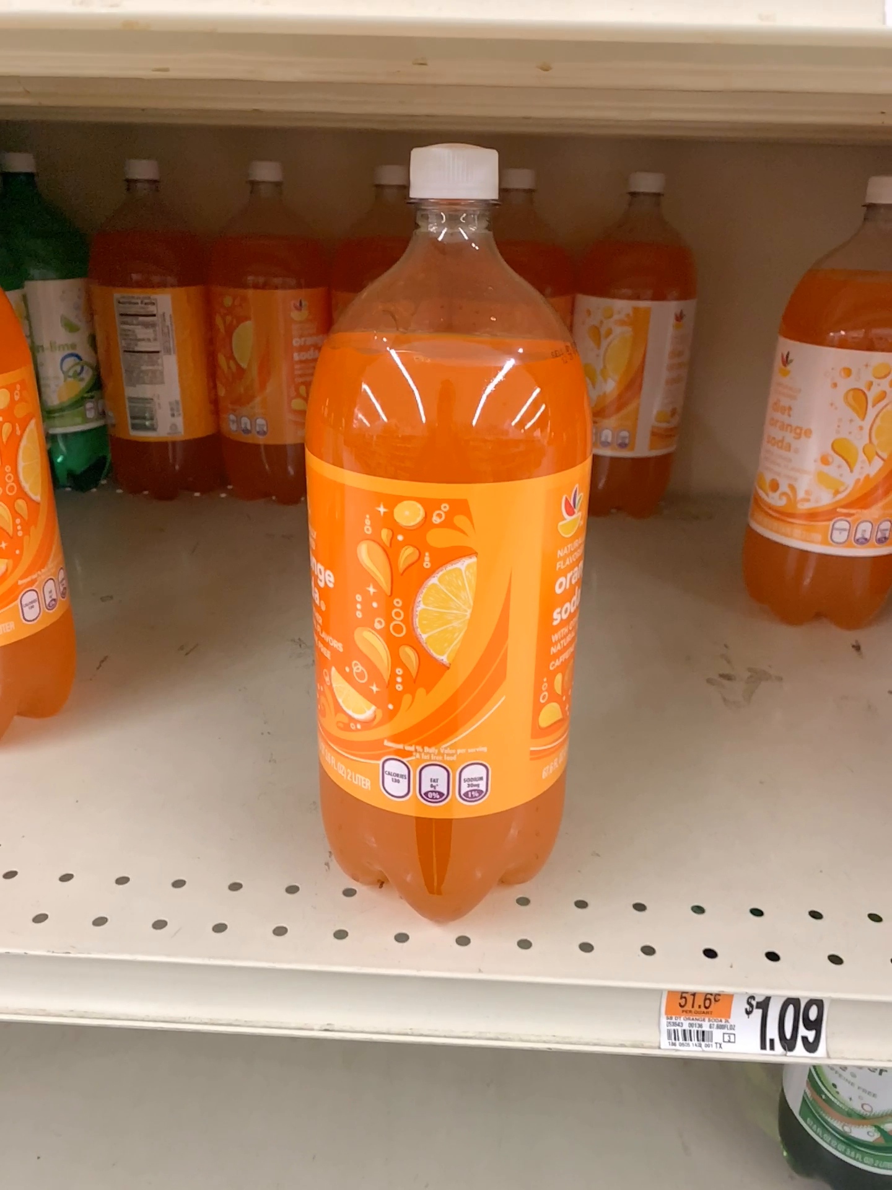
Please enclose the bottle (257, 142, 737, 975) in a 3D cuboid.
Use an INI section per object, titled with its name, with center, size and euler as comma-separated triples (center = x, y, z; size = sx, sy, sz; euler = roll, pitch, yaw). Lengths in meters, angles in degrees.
[bottle]
center = 0.008, -0.016, 0.362
size = 0.120, 0.288, 0.110
euler = 1, 25, -1
